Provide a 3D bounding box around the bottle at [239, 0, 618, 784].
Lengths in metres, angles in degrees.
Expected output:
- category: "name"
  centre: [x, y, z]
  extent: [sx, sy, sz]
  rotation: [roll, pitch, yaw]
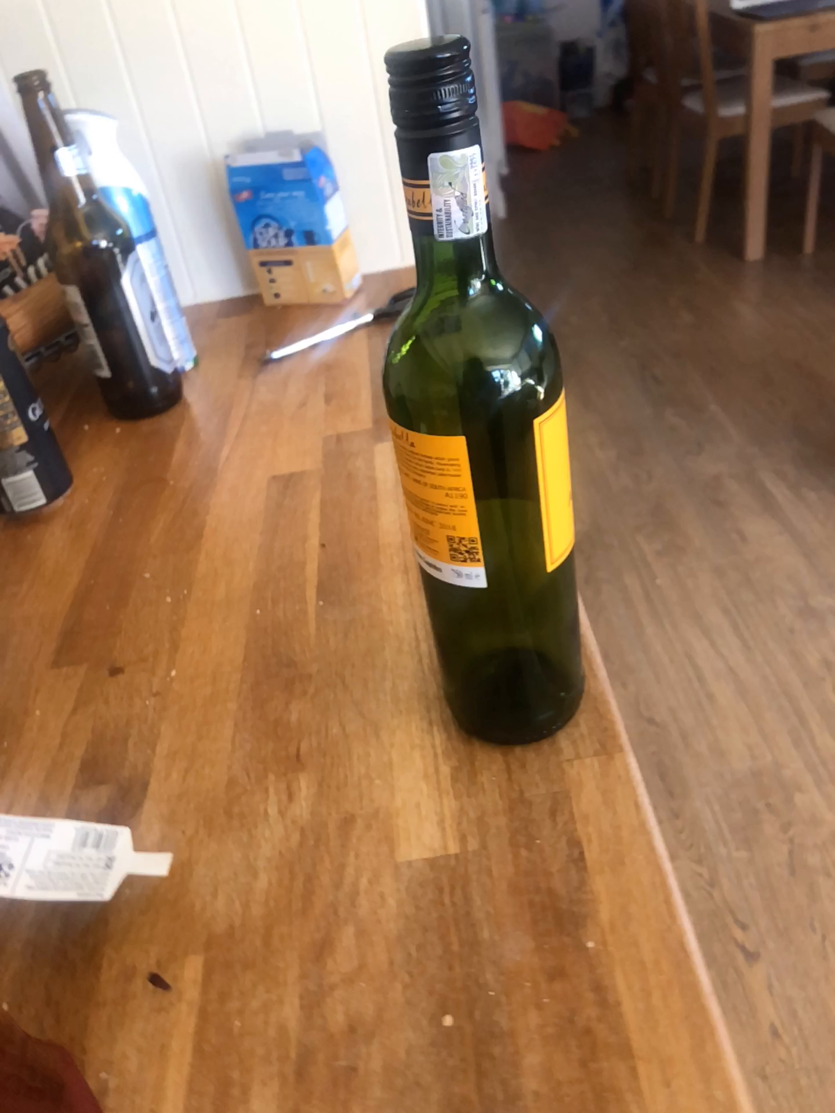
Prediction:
- category: "bottle"
  centre: [0.016, -0.054, 0.375]
  extent: [0.090, 0.297, 0.091]
  rotation: [-7, 35, 5]
